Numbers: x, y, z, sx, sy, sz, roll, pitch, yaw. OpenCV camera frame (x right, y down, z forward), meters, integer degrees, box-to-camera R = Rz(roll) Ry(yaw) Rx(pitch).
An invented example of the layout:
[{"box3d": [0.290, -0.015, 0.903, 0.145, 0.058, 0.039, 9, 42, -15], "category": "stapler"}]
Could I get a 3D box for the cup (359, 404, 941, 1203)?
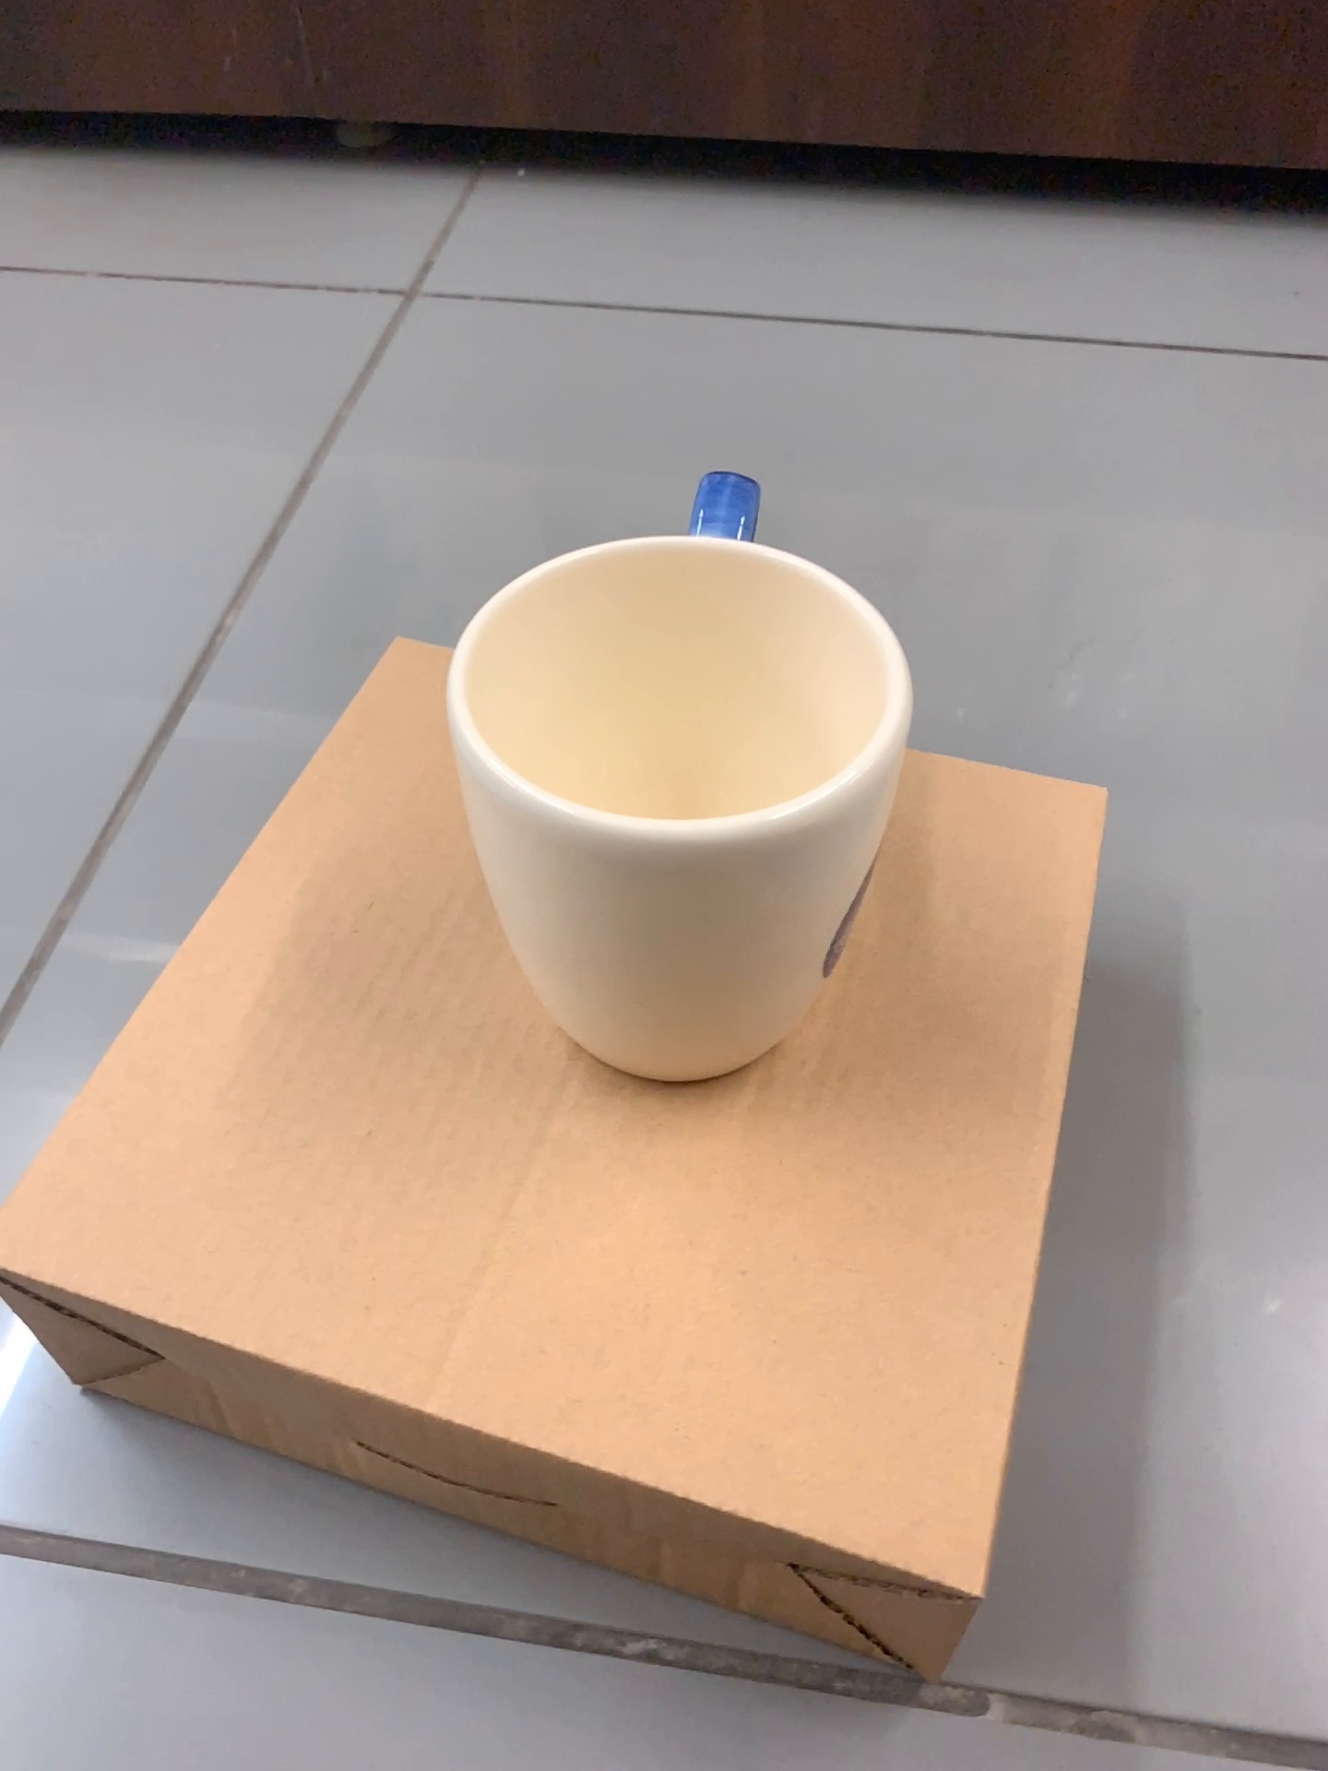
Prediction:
[{"box3d": [0.006, -0.022, 0.295, 0.090, 0.090, 0.140, 6, 49, 6], "category": "cup"}]
